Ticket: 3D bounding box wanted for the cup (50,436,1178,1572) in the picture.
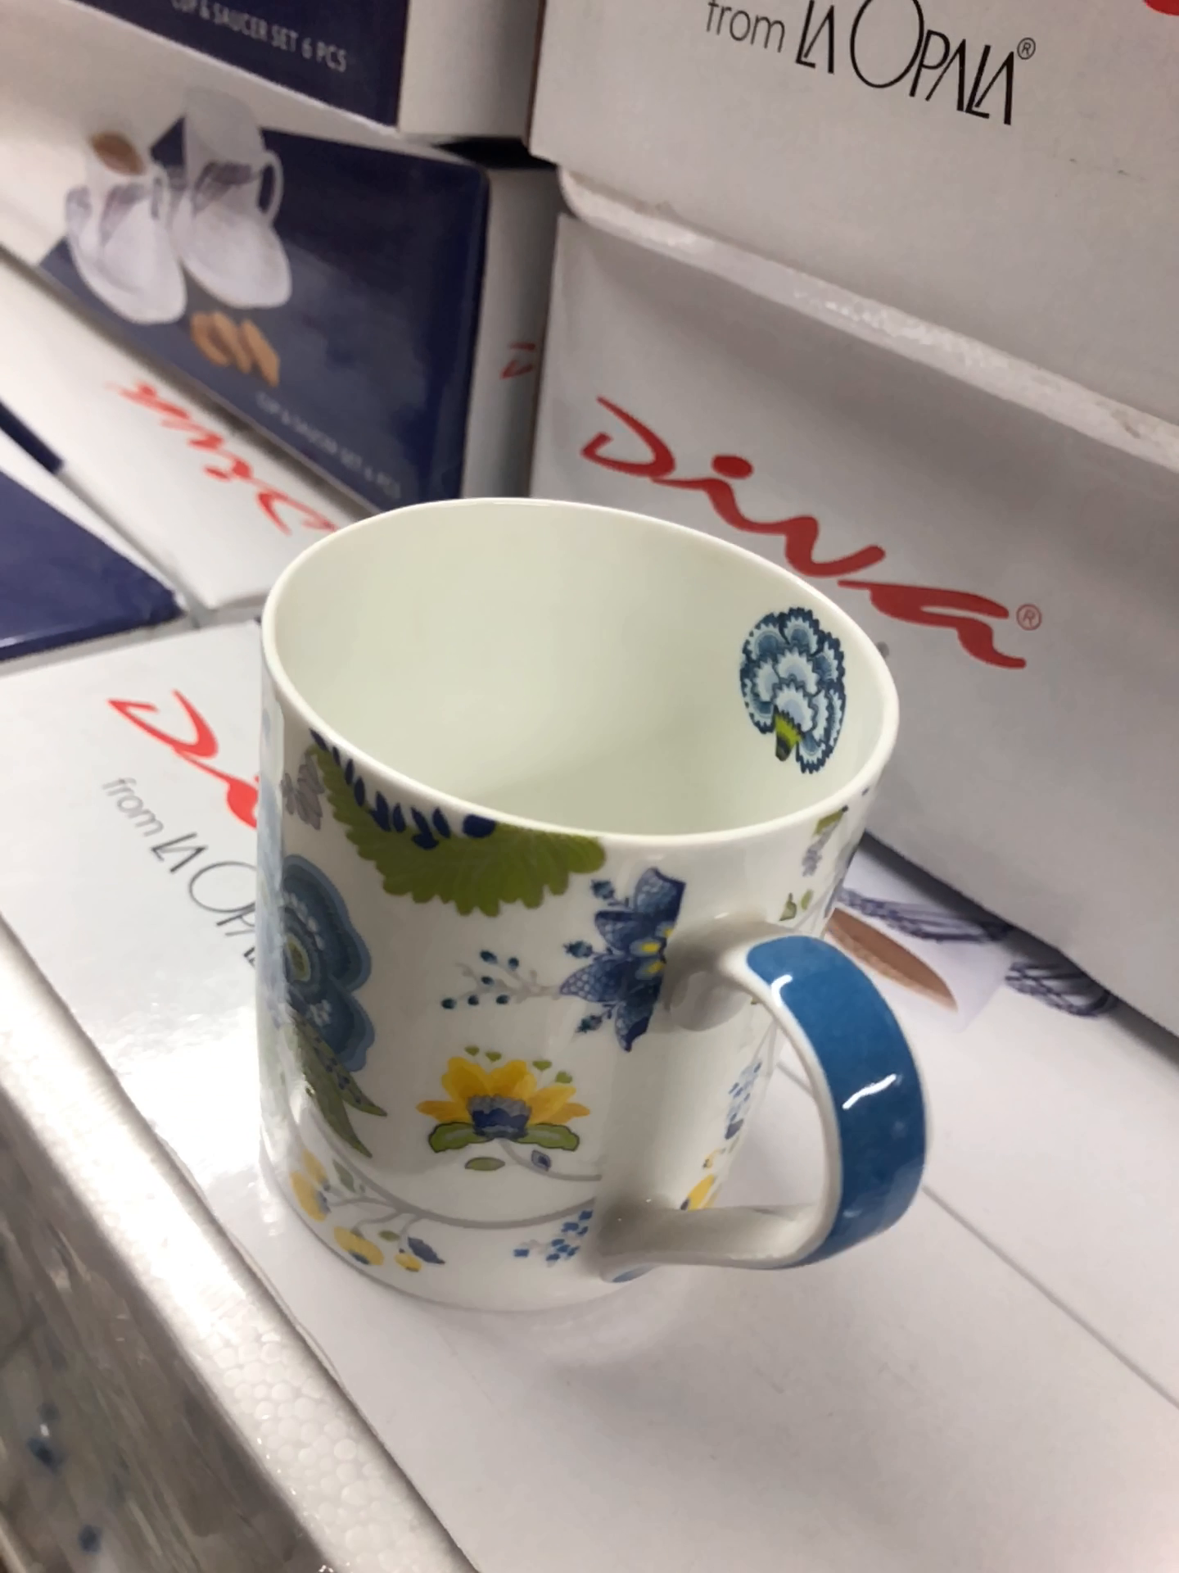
[{"bbox_3d":[-0.003,0.021,0.167,0.080,0.079,0.110,-20,46,-34],"label":"cup"}]
